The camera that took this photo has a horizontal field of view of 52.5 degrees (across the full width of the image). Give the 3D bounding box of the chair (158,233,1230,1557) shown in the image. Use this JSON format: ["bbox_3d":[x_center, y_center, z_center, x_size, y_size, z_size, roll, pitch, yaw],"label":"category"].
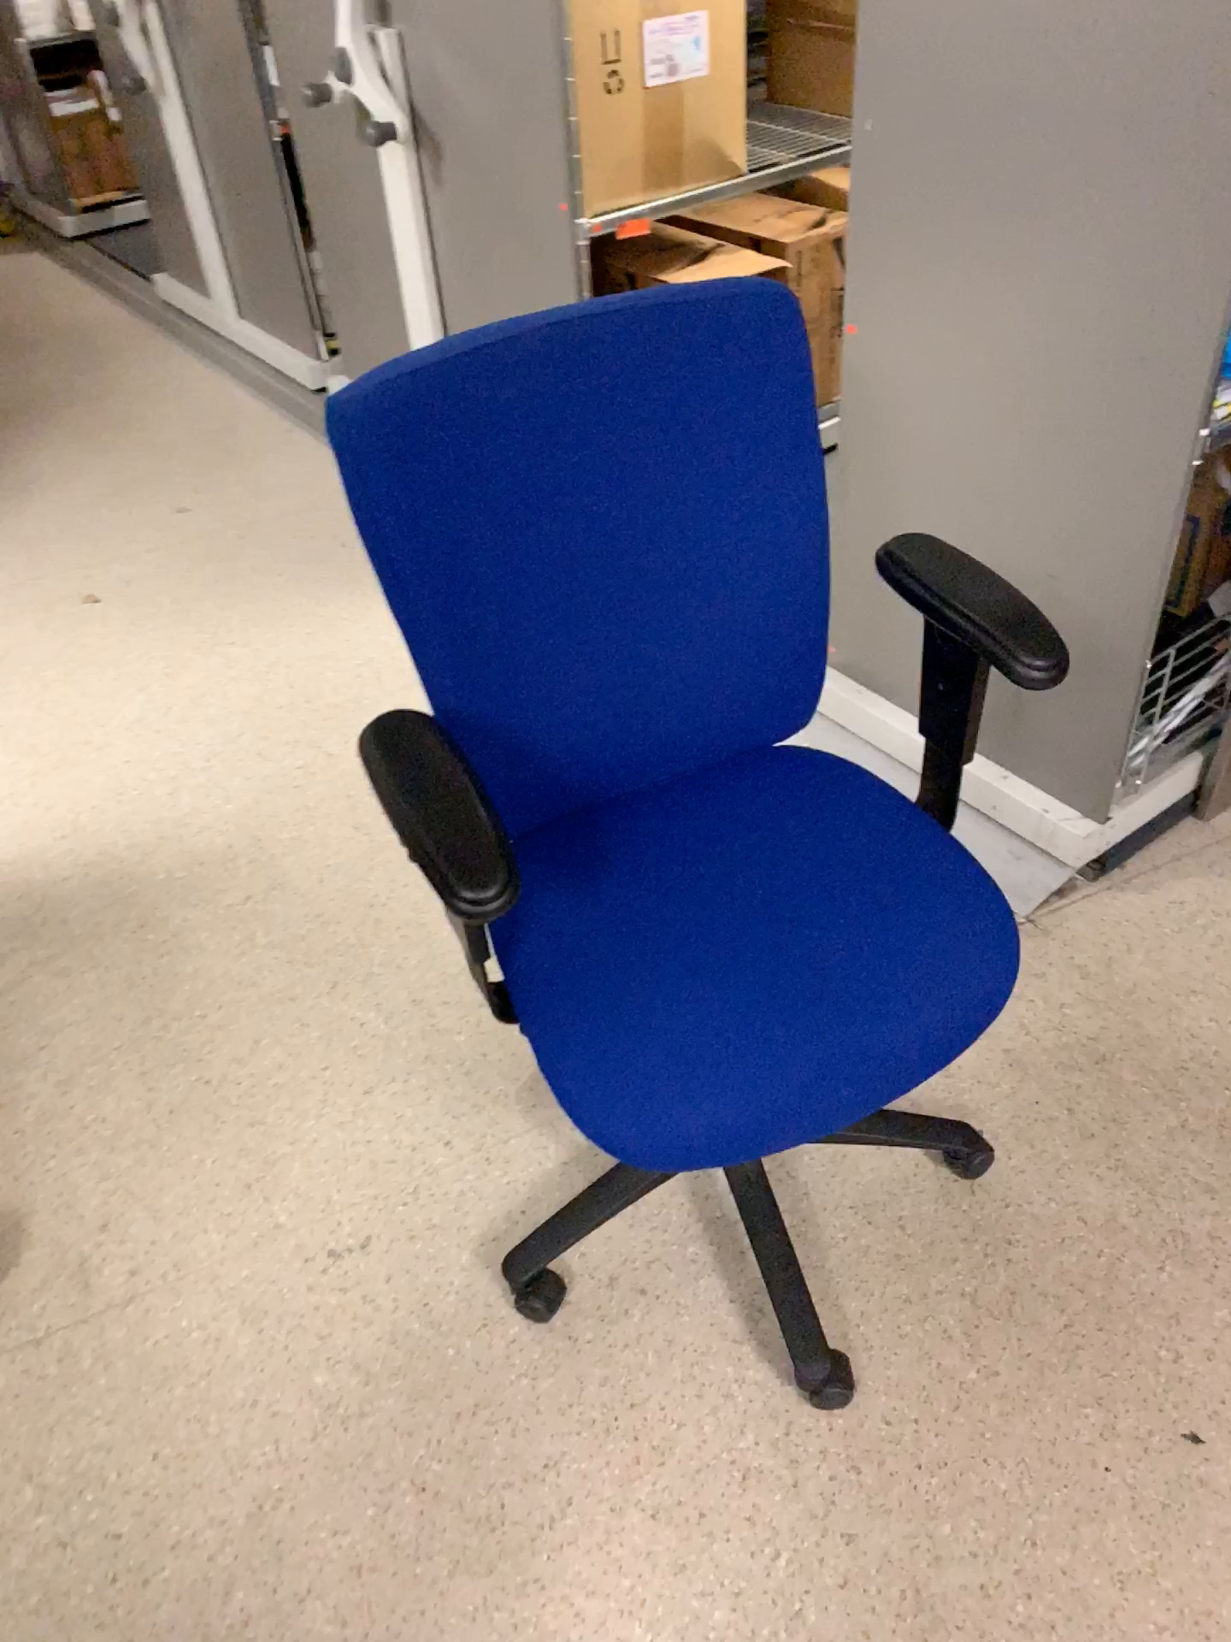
[{"bbox_3d":[0.092,0.034,1.300,0.672,0.931,0.766,-23,43,-20],"label":"chair"}]
